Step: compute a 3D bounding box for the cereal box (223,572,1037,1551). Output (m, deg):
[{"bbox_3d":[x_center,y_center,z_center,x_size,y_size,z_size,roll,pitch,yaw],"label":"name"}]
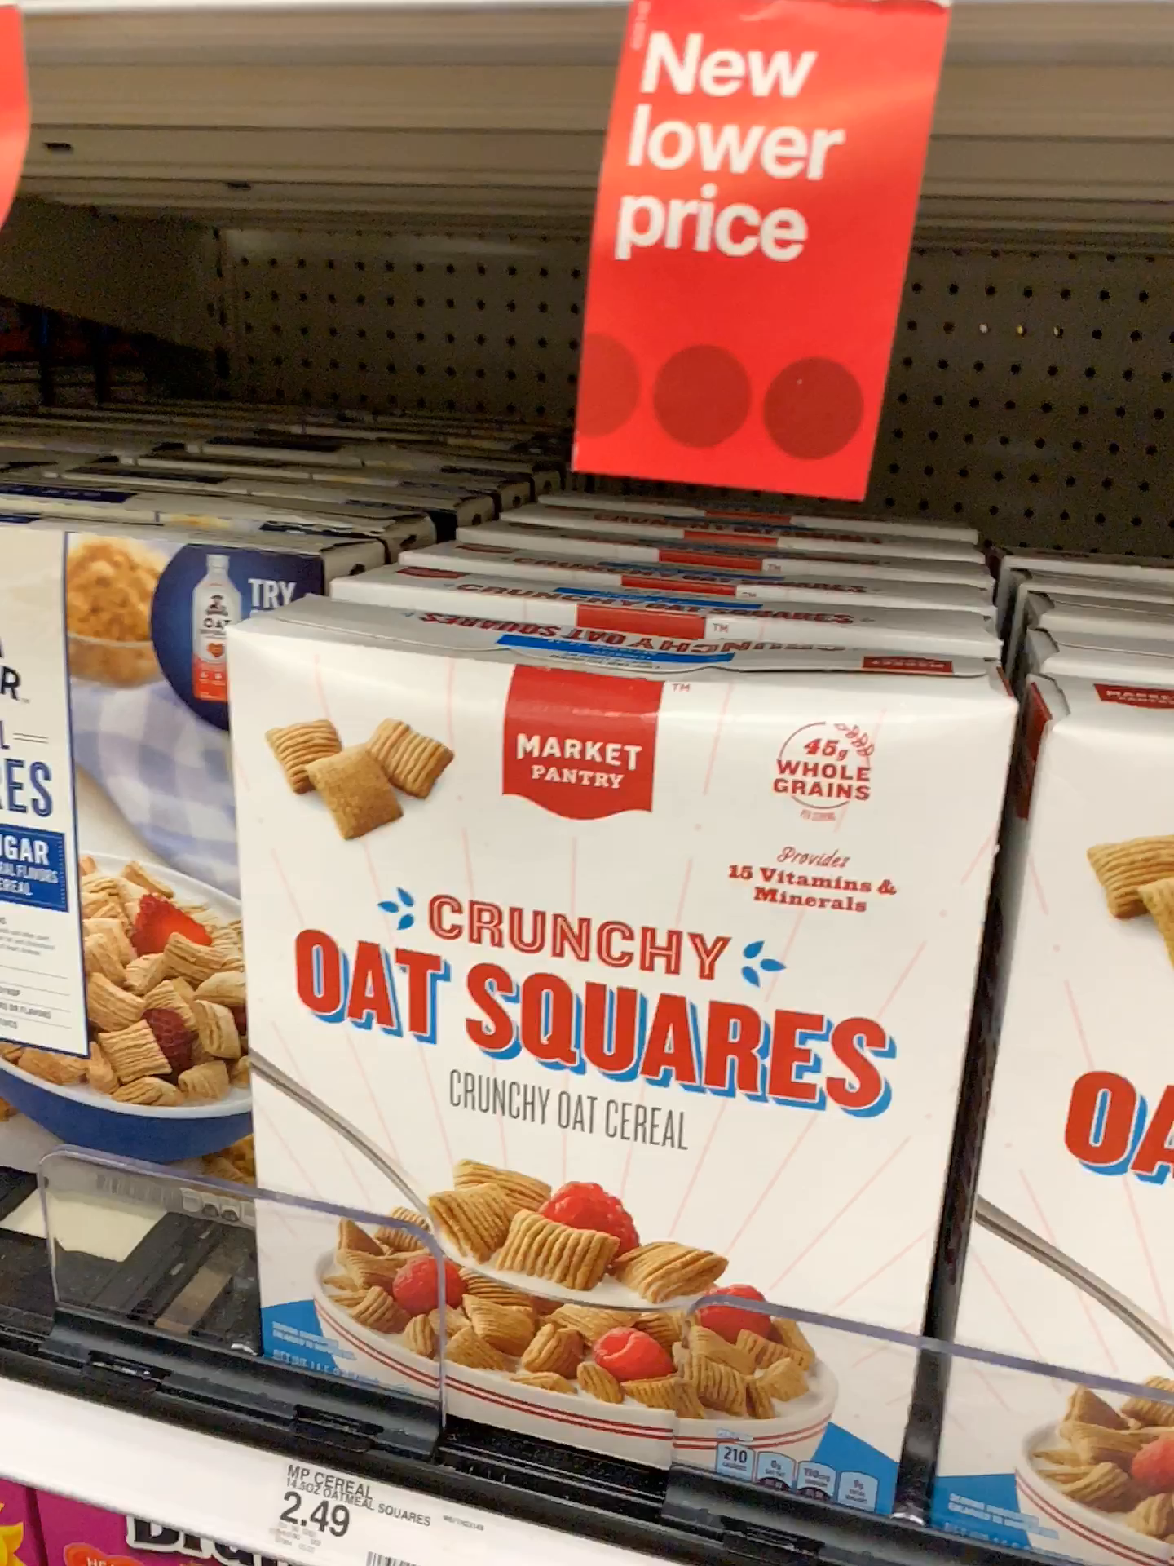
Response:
[{"bbox_3d":[0.004,0.077,0.346,0.190,0.249,0.060,7,20,11],"label":"cereal box"}]
